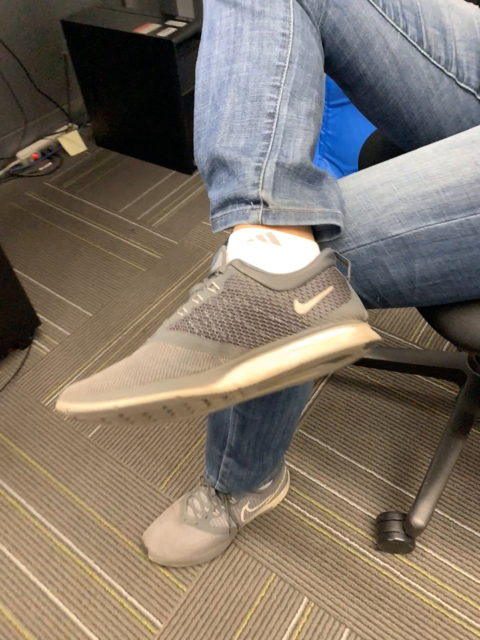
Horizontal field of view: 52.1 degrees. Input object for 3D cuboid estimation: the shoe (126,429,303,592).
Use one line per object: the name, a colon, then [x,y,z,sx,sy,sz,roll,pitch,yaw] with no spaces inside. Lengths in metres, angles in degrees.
shoe: [-0.039,0.333,0.878,0.287,0.092,0.114,-27,52,-19]

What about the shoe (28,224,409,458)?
shoe: [-0.022,0.018,0.464,0.294,0.120,0.134,-8,52,-6]
